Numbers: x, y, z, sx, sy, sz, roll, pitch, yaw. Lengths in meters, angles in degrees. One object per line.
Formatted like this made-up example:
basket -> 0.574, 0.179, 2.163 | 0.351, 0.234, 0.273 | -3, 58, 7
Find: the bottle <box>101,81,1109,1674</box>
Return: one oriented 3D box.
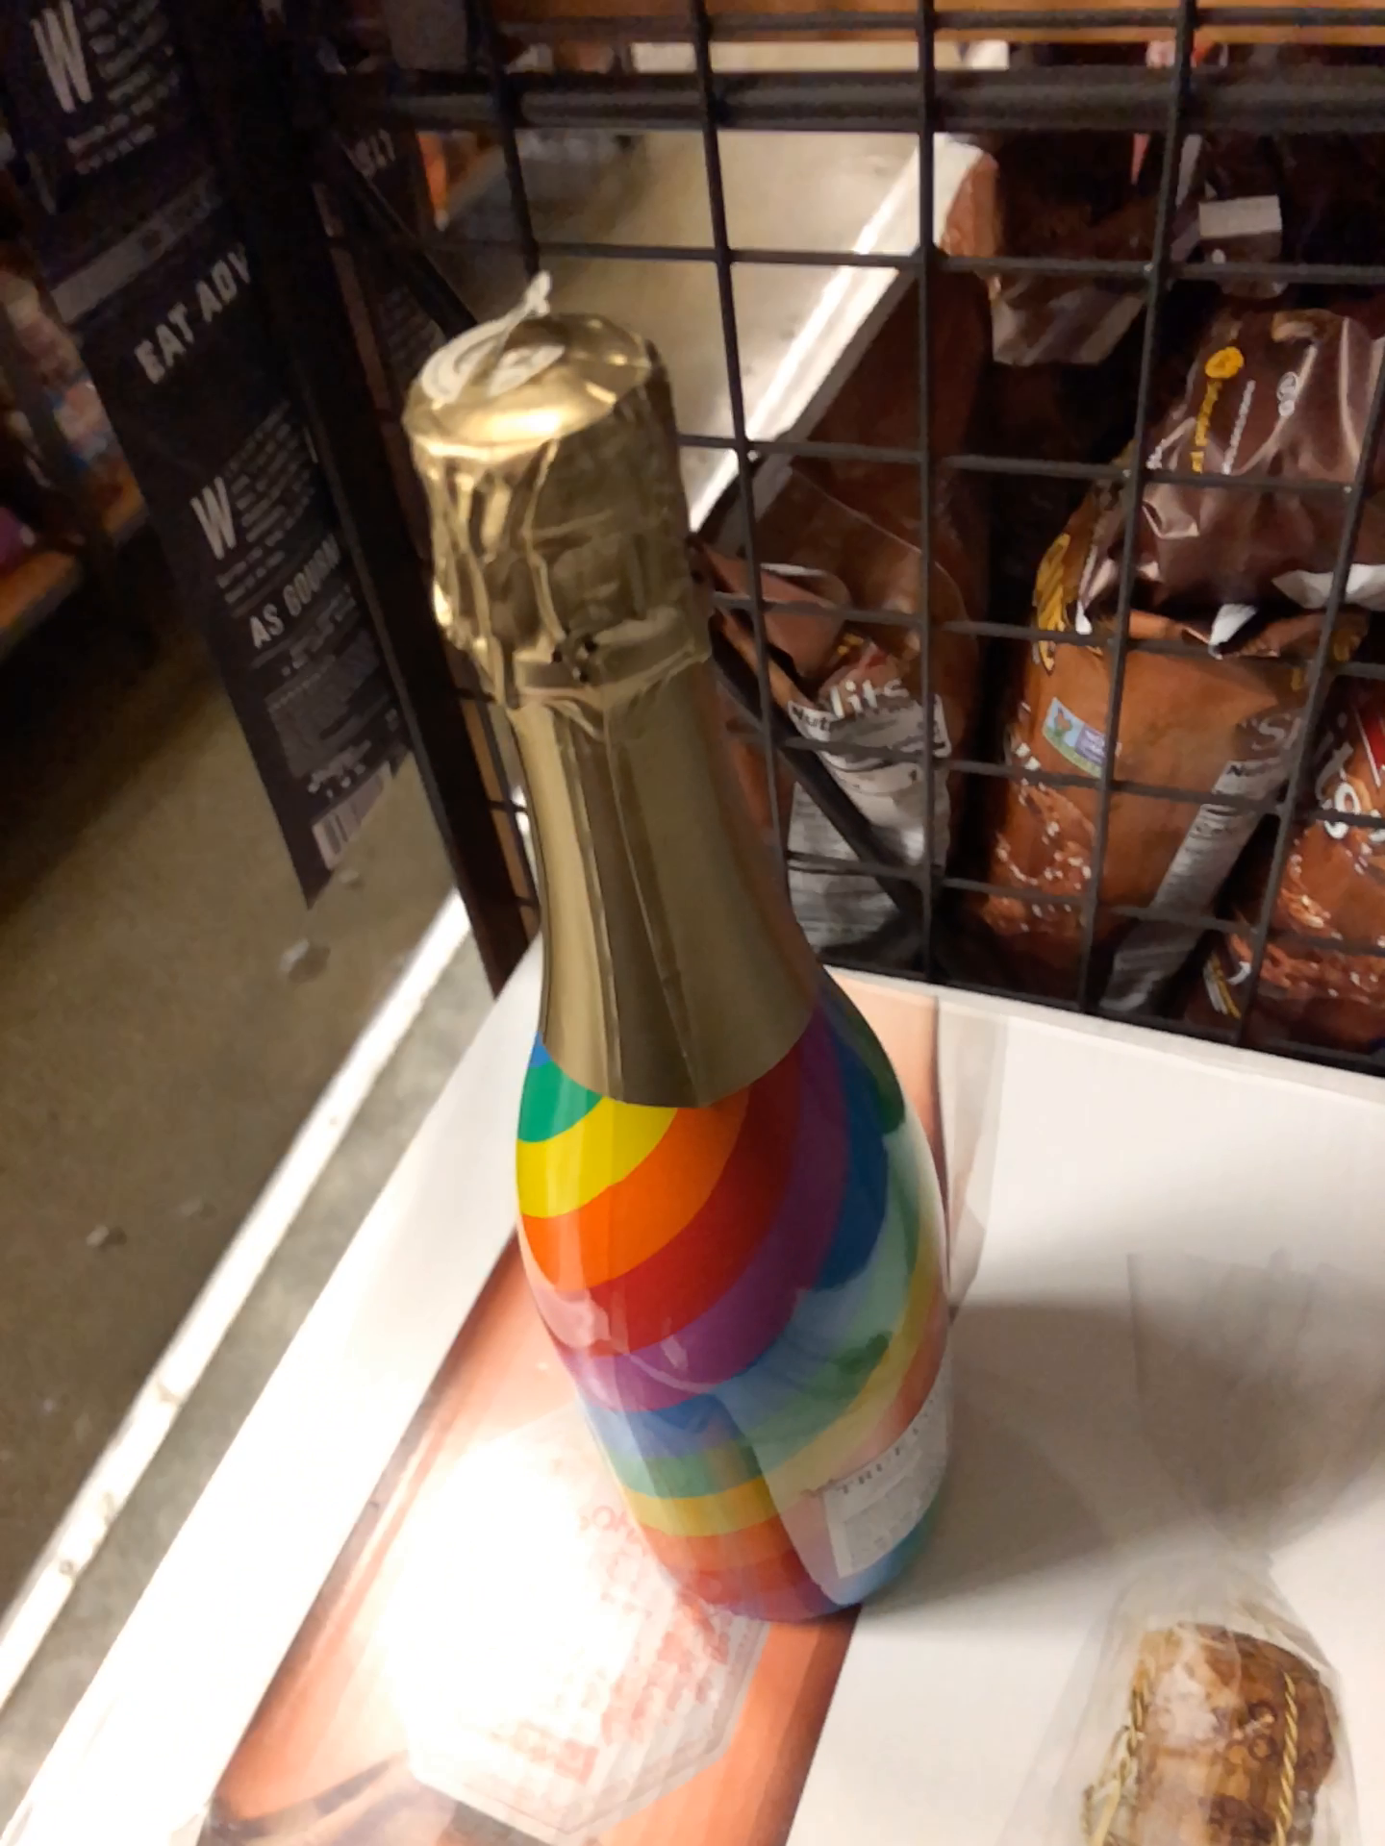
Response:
bottle -> 0.011, 0.029, 0.293 | 0.088, 0.320, 0.088 | -5, 46, 5
